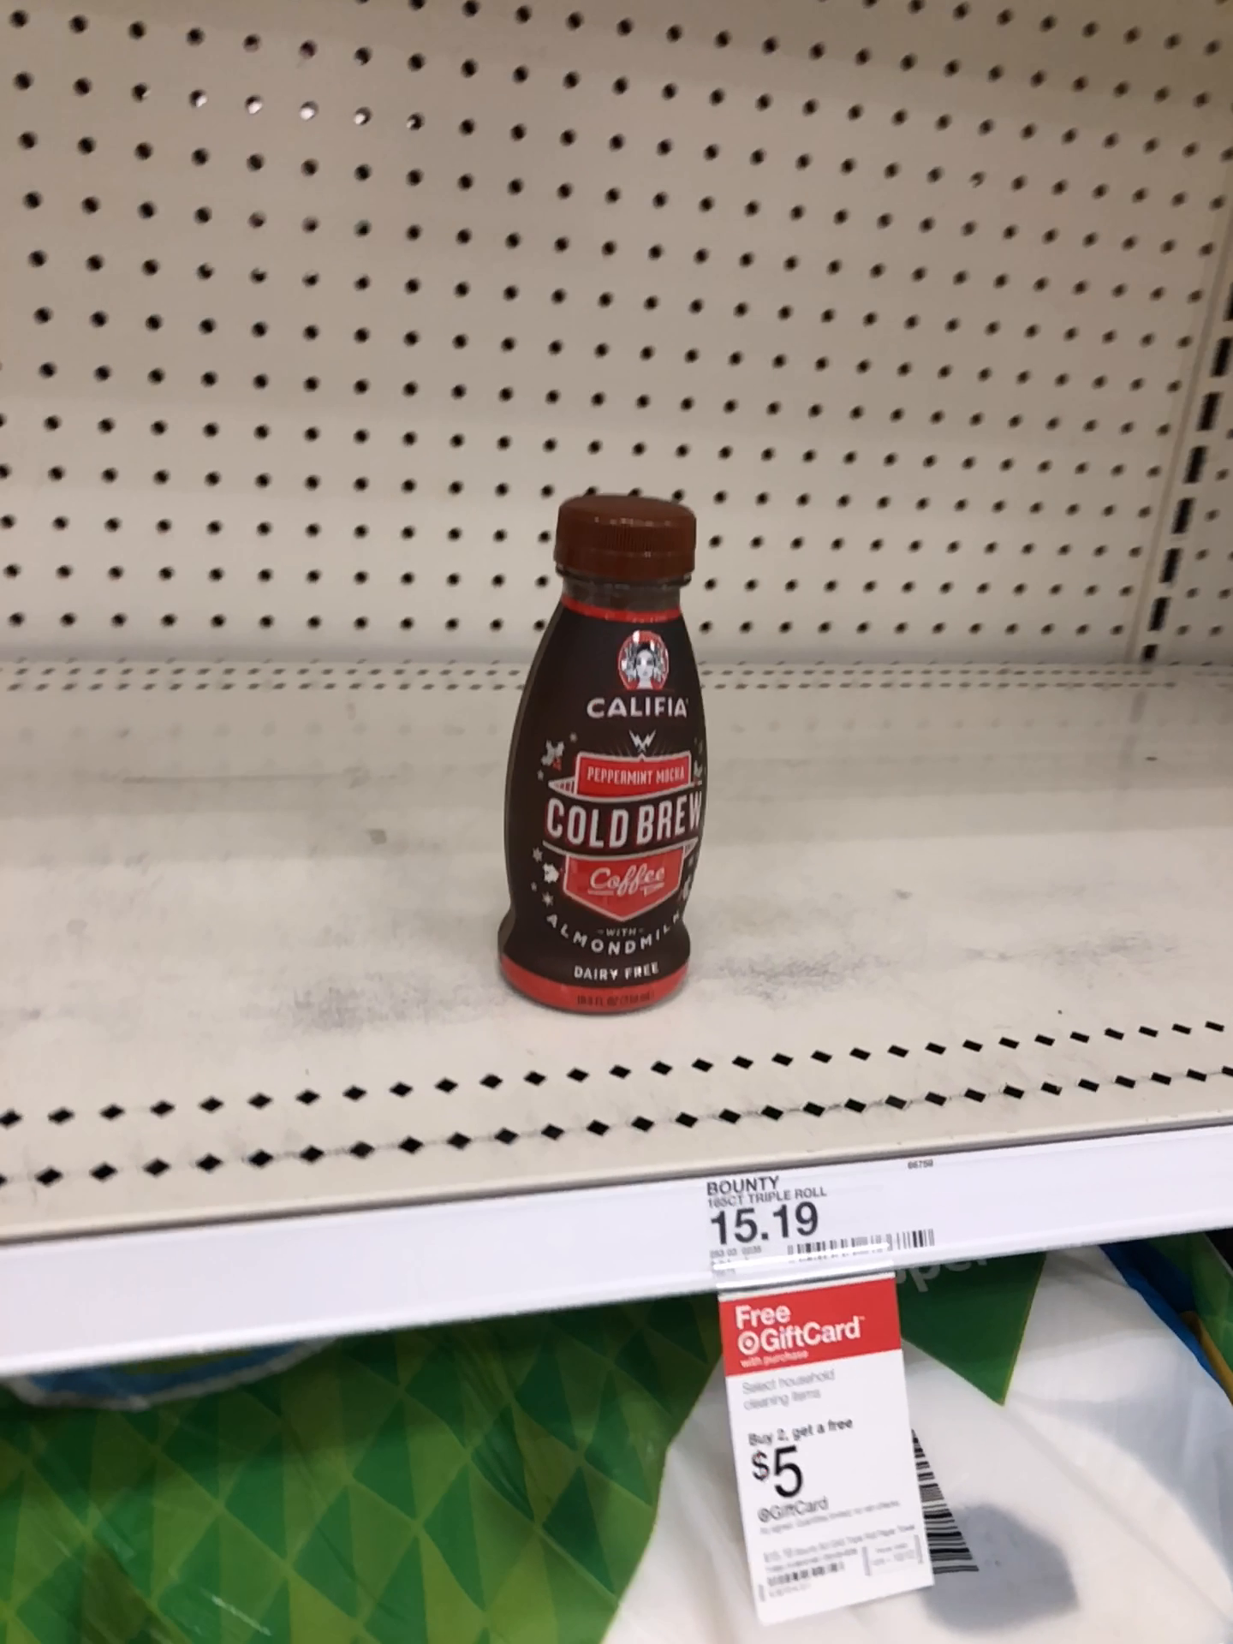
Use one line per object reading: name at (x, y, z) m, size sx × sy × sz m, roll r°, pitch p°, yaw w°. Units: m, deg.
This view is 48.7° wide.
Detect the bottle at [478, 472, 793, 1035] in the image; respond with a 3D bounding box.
bottle at (-0.001, -0.022, 0.415) m, size 0.070 × 0.149 × 0.080 m, roll 0°, pitch 24°, yaw -11°
